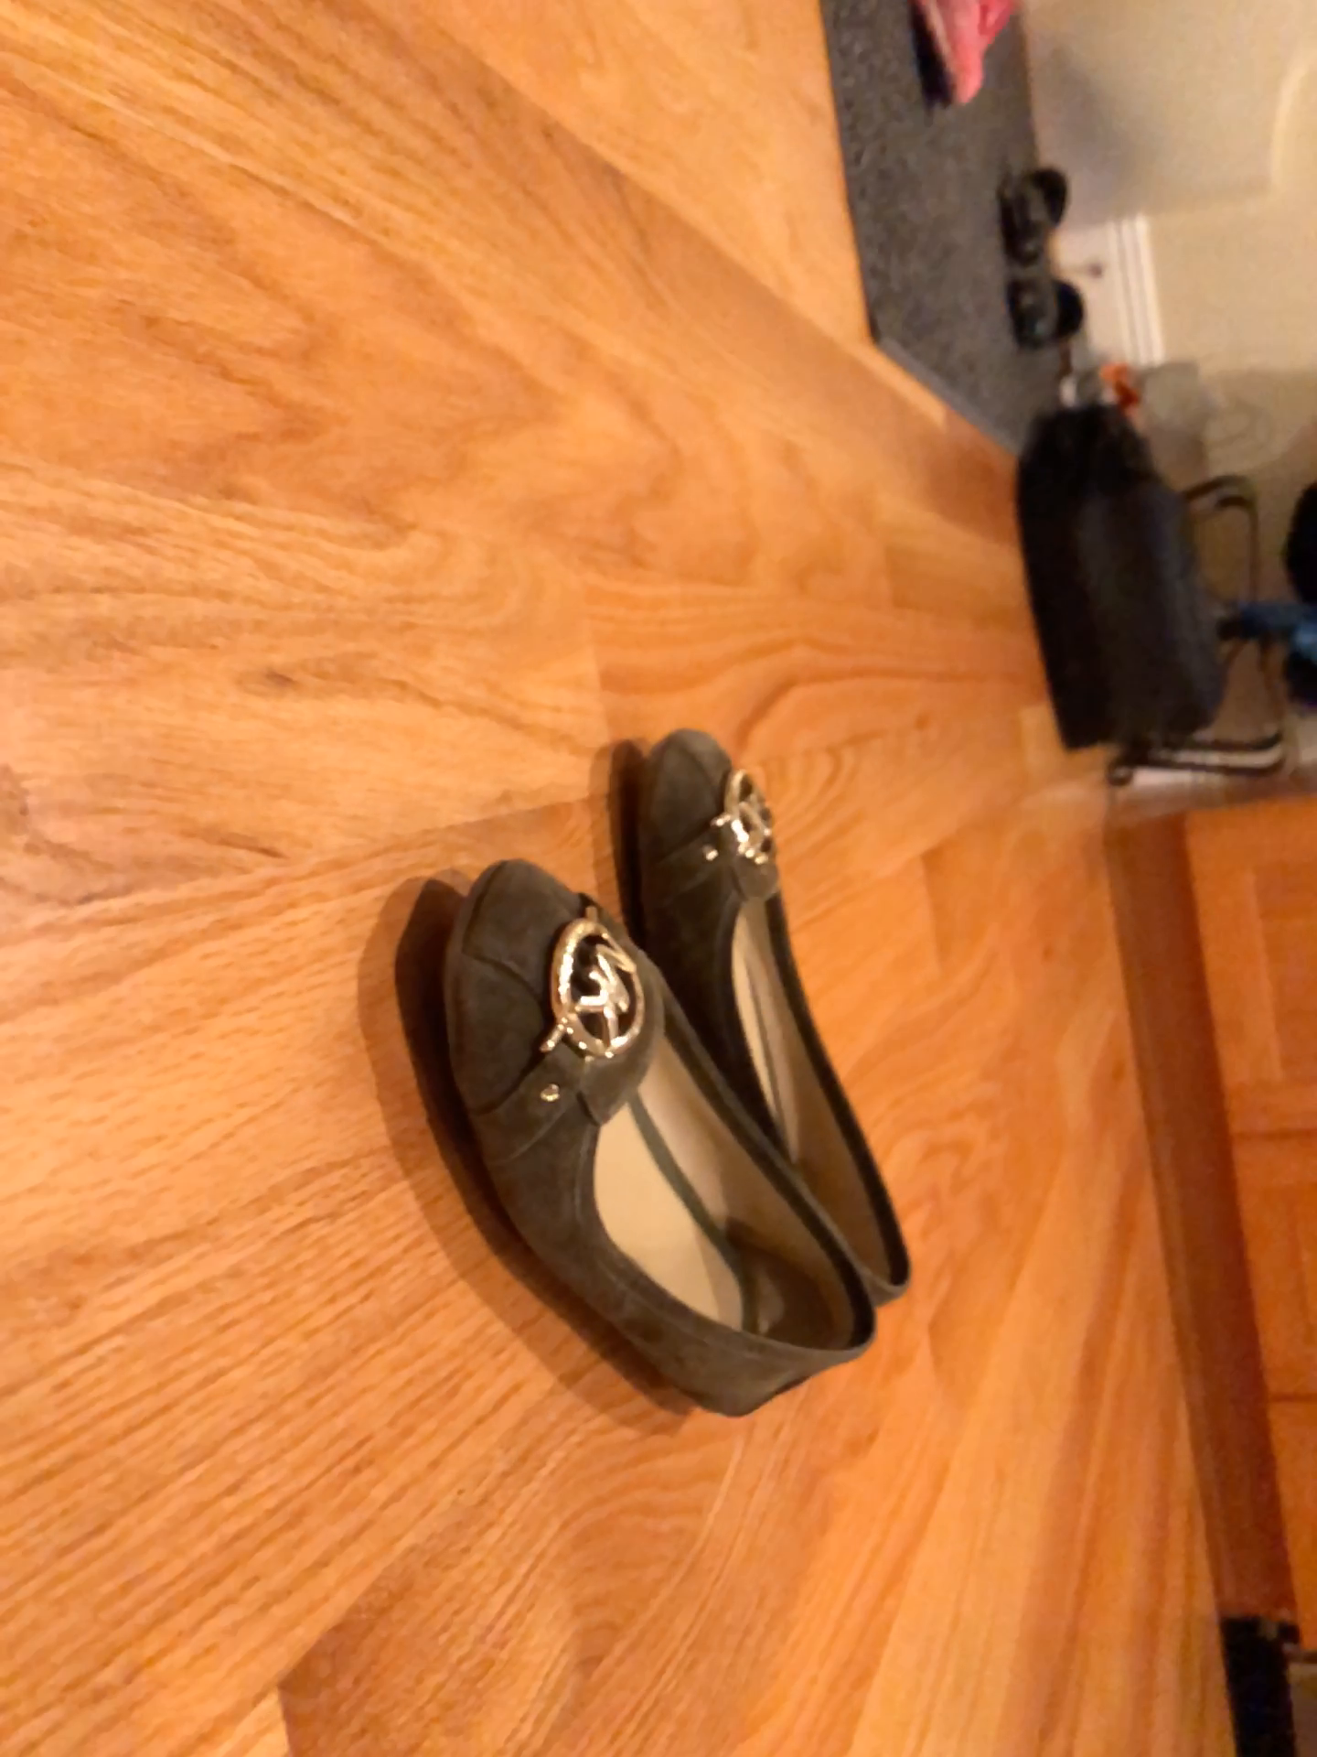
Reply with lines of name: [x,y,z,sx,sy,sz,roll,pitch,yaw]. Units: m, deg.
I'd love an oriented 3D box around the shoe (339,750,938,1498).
shoe: [0.013,0.088,0.439,0.091,0.079,0.242,-76,149,-42]

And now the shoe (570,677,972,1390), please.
shoe: [0.049,0.057,0.543,0.091,0.079,0.239,-40,120,-64]
